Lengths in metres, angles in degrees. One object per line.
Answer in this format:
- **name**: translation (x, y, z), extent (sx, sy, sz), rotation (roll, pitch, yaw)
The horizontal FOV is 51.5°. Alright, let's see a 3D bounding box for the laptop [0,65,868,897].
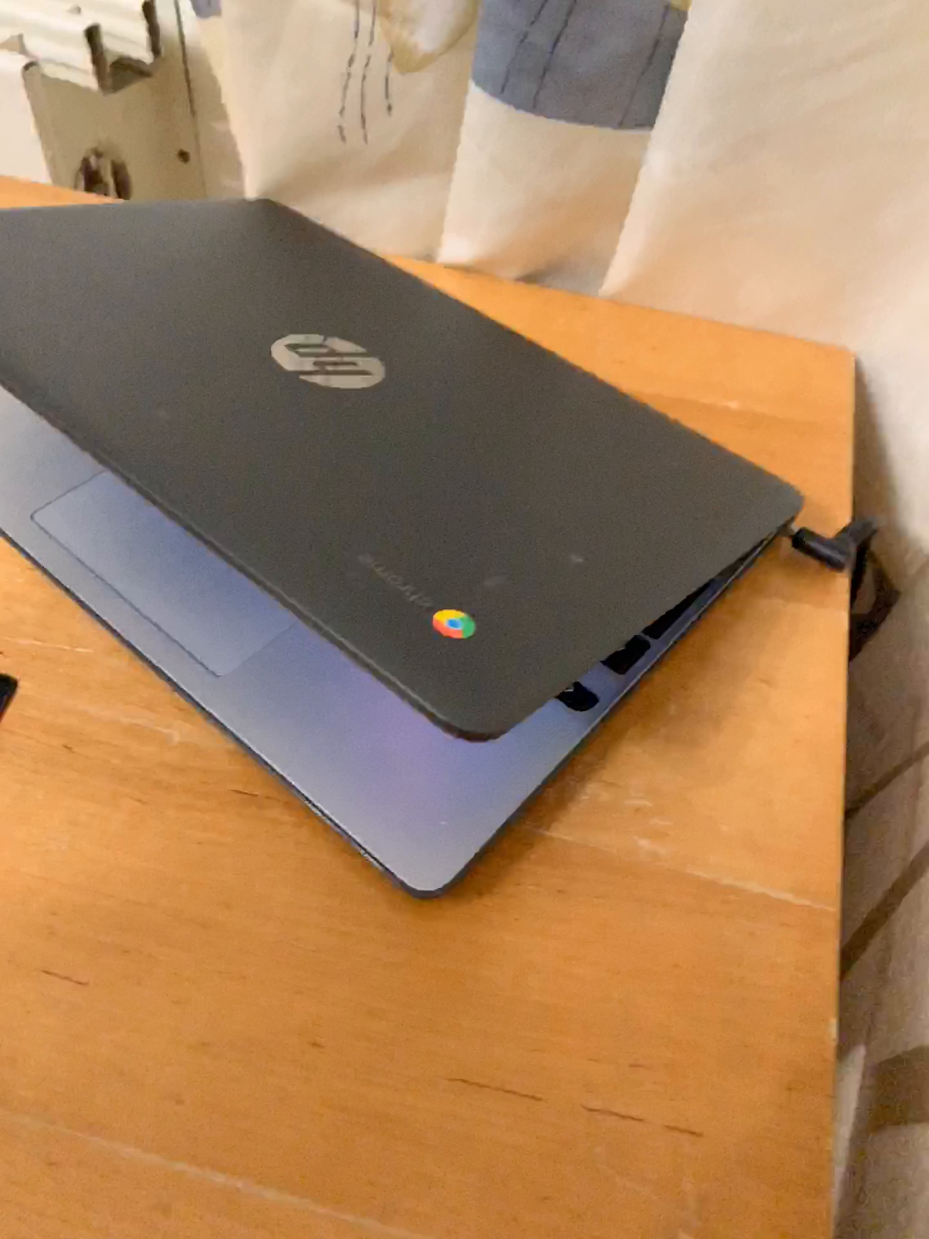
- **laptop**: translation (-0.044, -0.077, 0.317), extent (0.268, 0.066, 0.191), rotation (36, 57, 22)
